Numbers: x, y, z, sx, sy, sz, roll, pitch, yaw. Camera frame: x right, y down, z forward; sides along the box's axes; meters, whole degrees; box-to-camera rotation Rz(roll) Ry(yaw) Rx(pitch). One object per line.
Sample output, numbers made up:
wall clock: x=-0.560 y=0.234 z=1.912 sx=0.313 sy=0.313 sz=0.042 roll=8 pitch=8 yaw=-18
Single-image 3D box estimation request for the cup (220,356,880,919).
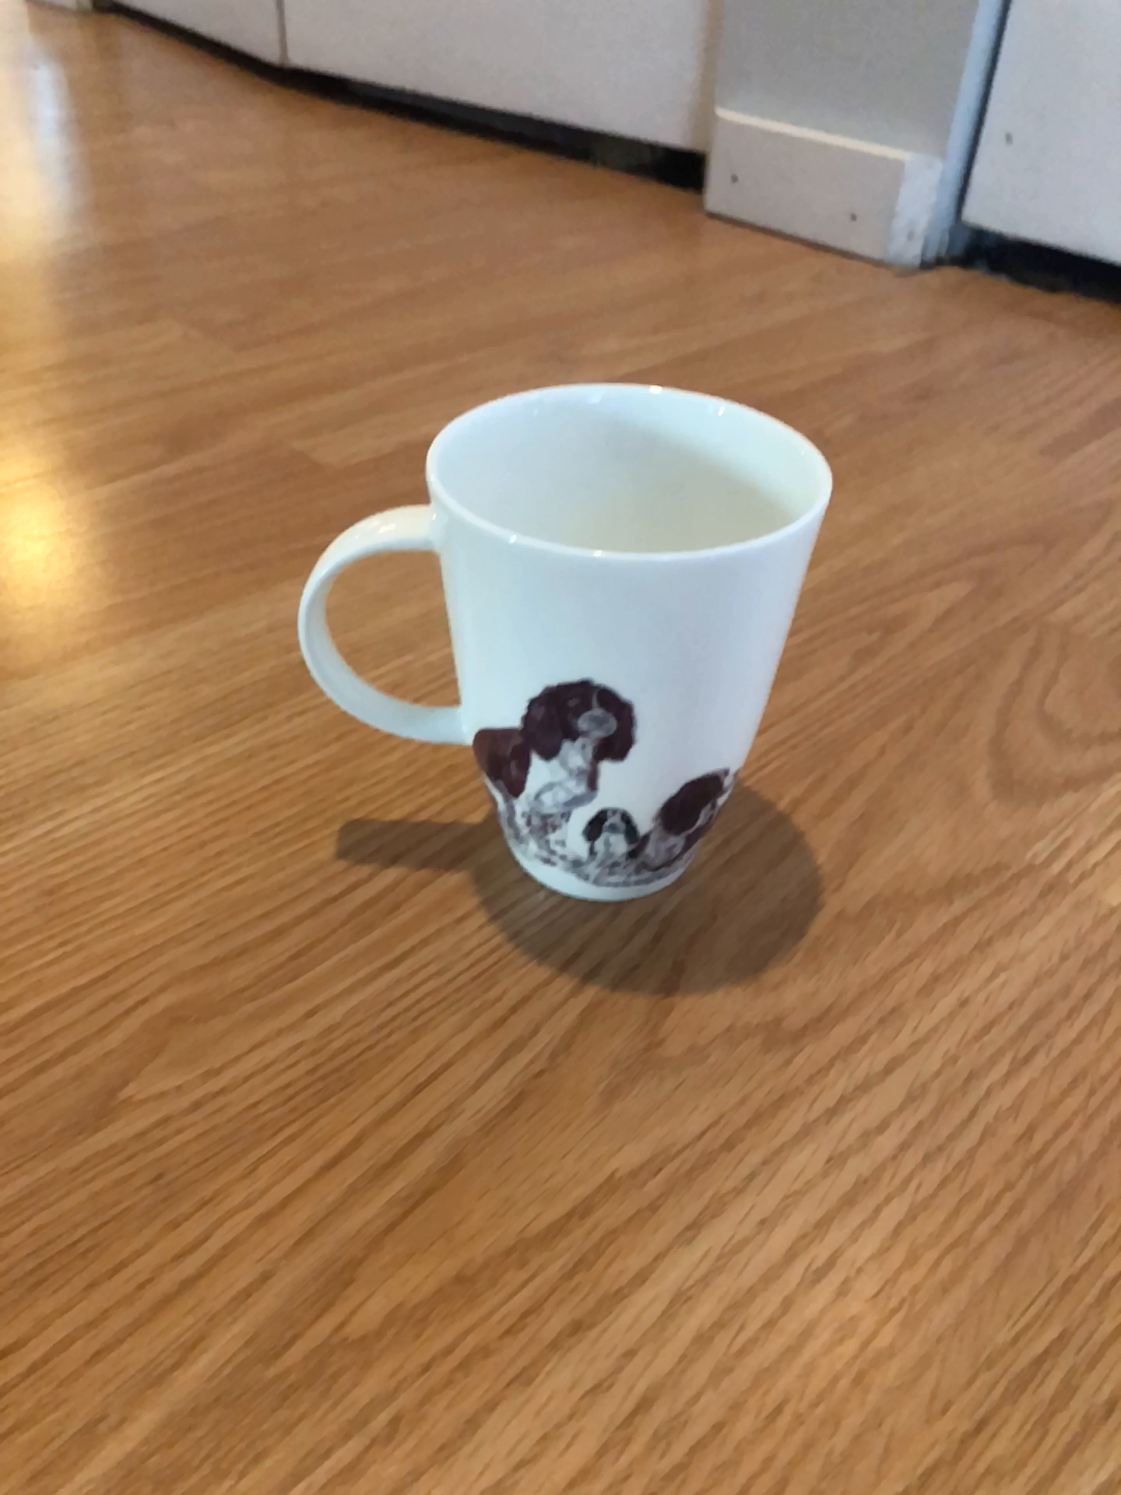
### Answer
cup: x=-0.003 y=-0.027 z=0.289 sx=0.120 sy=0.090 sz=0.090 roll=3 pitch=37 yaw=-1
